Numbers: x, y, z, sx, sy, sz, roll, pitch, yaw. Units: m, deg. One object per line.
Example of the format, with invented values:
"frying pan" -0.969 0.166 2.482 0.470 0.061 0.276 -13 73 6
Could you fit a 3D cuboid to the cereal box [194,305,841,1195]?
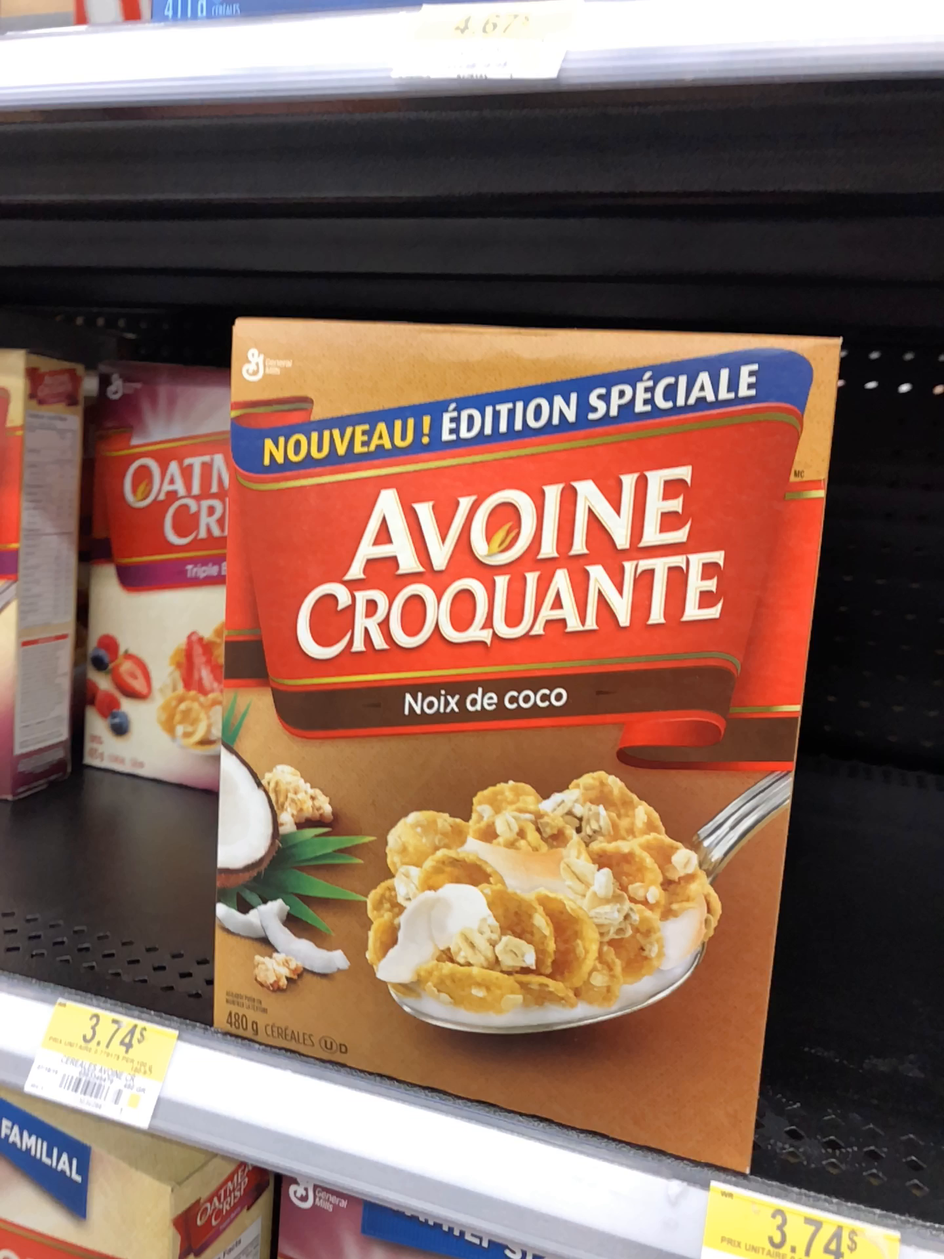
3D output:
"cereal box" 0.007 0.032 0.367 0.200 0.269 0.050 7 9 18
